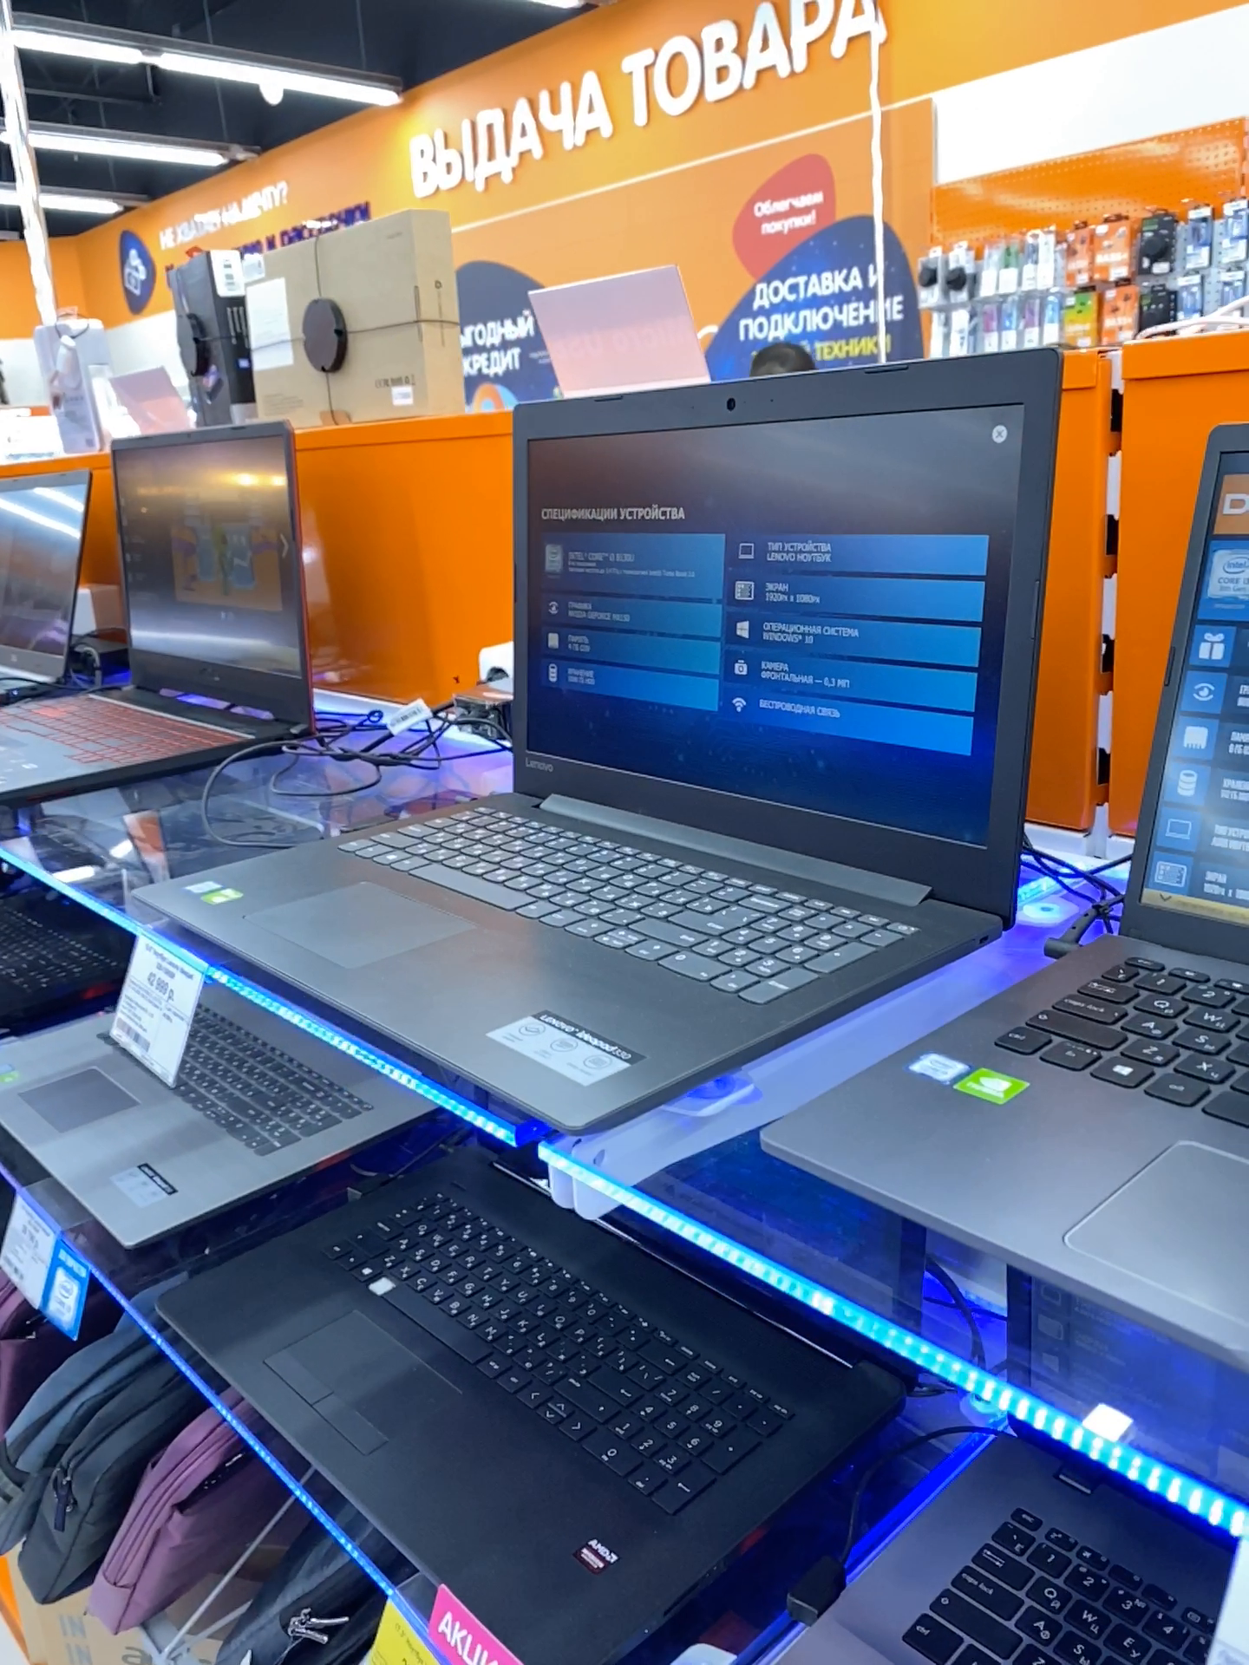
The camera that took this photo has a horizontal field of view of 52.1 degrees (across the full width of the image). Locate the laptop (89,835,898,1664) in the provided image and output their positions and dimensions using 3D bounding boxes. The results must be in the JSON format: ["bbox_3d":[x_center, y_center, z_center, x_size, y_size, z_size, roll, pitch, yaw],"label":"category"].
[{"bbox_3d":[-0.081,0.188,0.759,0.401,0.263,0.271,13,20,44],"label":"laptop"}]

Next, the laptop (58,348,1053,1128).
[{"bbox_3d":[-0.042,-0.085,0.623,0.289,0.245,0.378,-17,20,-40],"label":"laptop"}]
